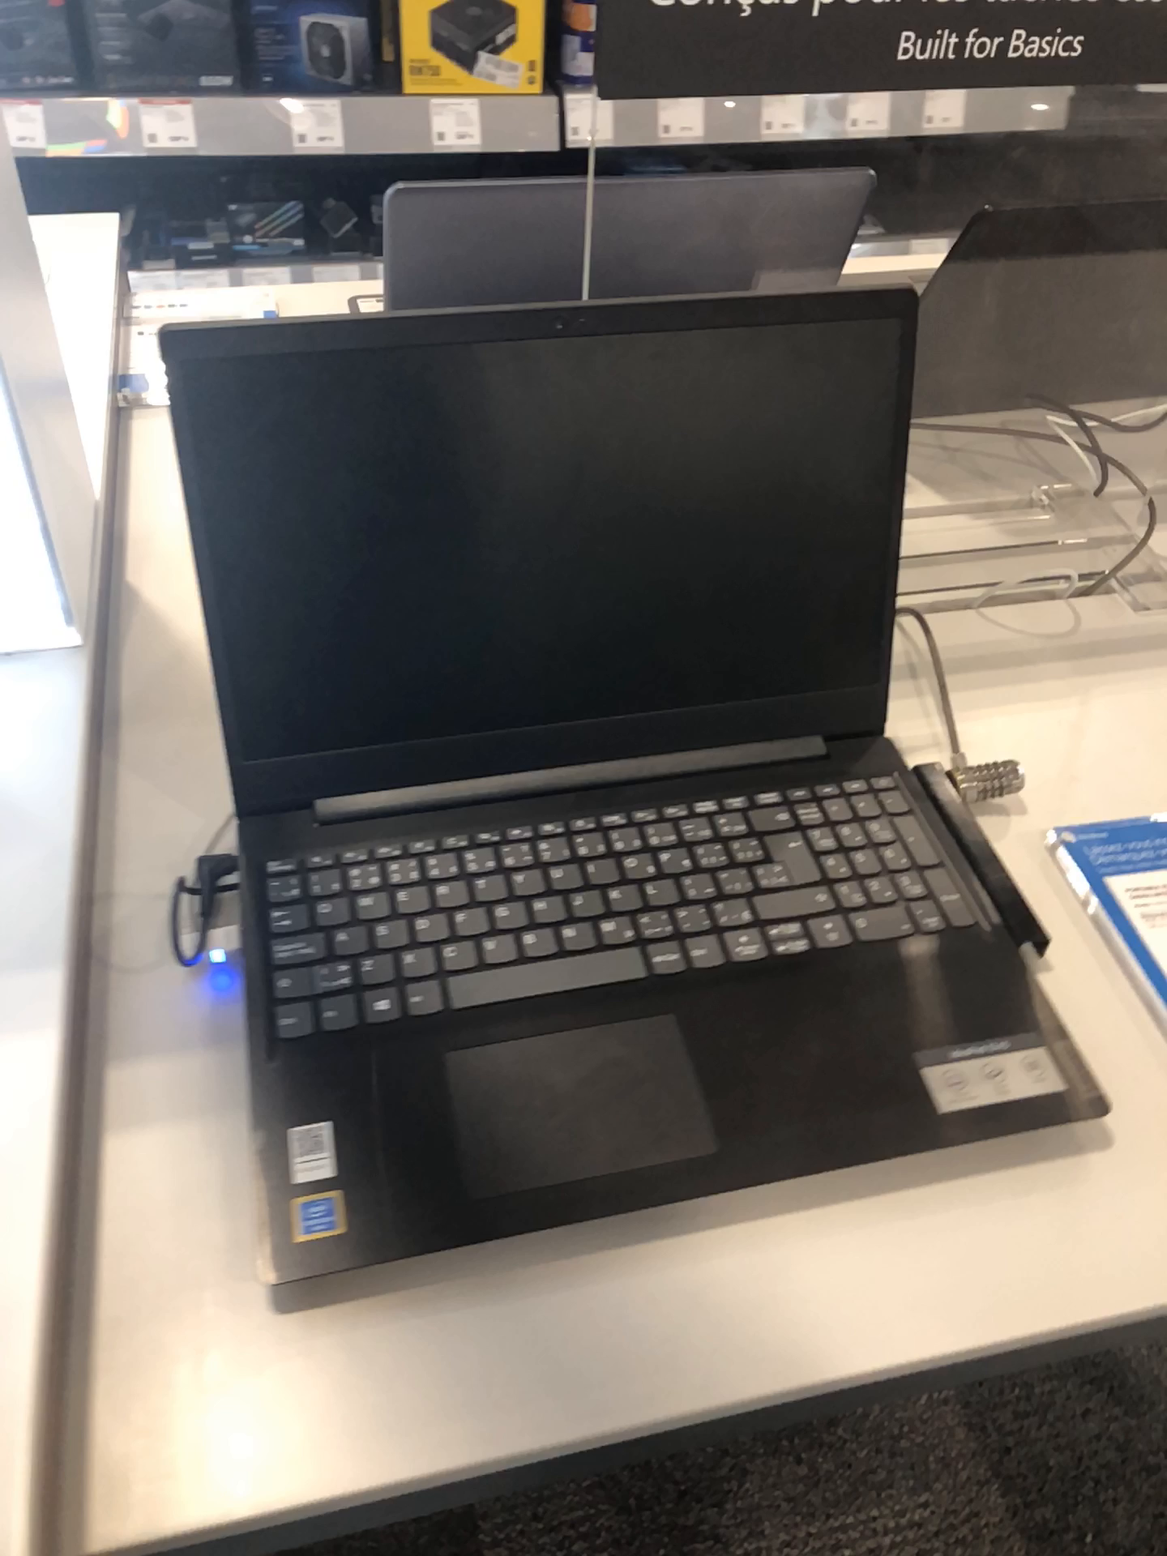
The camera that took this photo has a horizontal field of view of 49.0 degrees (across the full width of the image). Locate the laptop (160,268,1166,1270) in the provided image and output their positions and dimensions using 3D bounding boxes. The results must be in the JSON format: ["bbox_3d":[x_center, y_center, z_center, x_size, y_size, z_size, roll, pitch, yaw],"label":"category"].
[{"bbox_3d":[0.018,-0.031,0.549,0.346,0.213,0.324,-7,46,-11],"label":"laptop"}]
